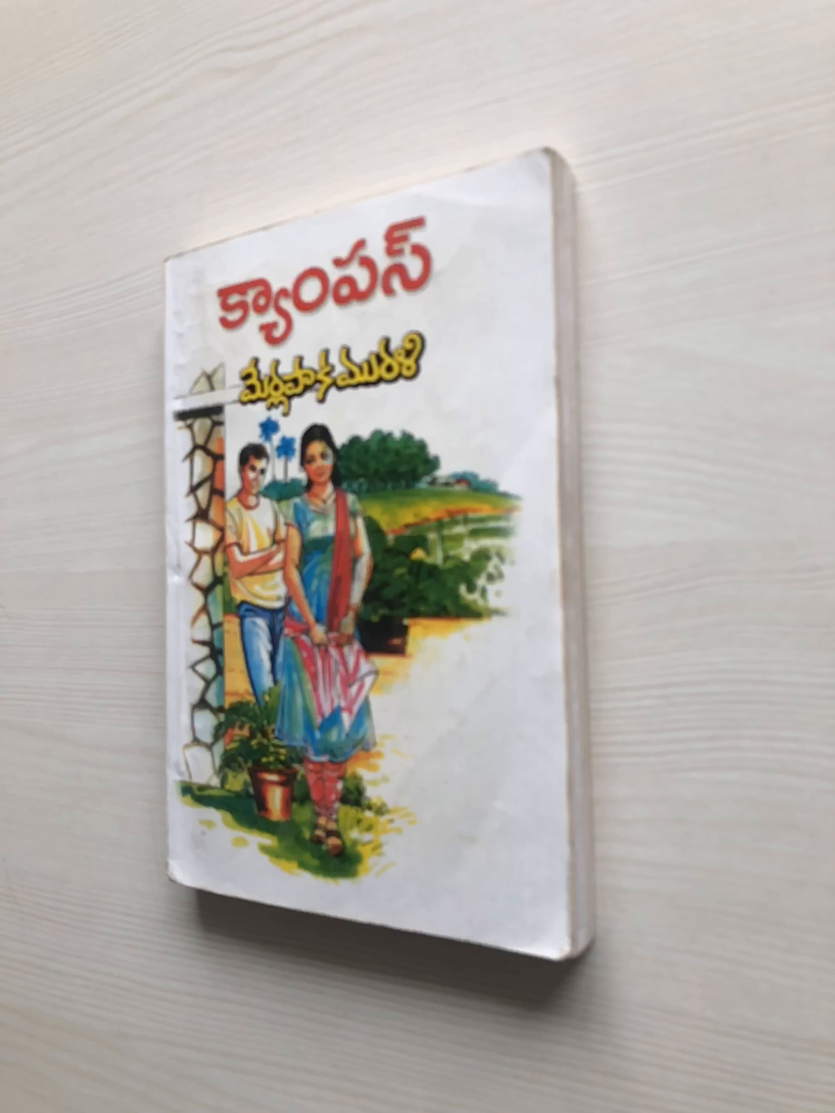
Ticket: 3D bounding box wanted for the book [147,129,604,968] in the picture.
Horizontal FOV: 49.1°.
[{"bbox_3d":[-0.016,-0.001,0.214,0.113,0.016,0.163,-3,87,30],"label":"book"}]
